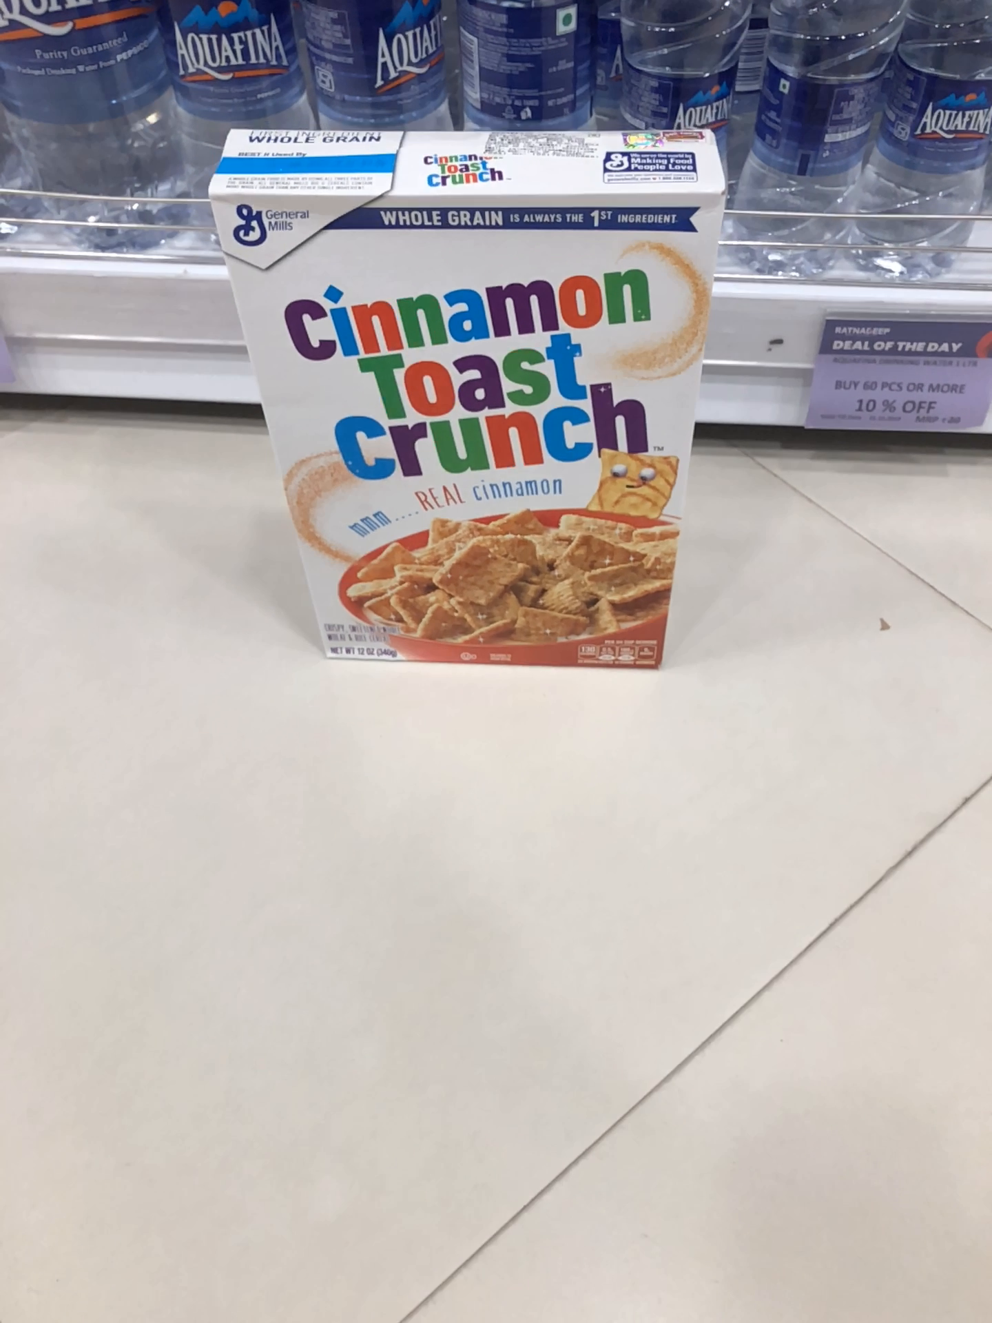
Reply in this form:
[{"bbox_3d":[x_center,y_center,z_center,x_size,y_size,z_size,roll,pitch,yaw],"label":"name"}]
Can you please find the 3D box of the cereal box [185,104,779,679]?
[{"bbox_3d":[0.000,-0.099,0.498,0.200,0.278,0.060,1,54,3],"label":"cereal box"}]
